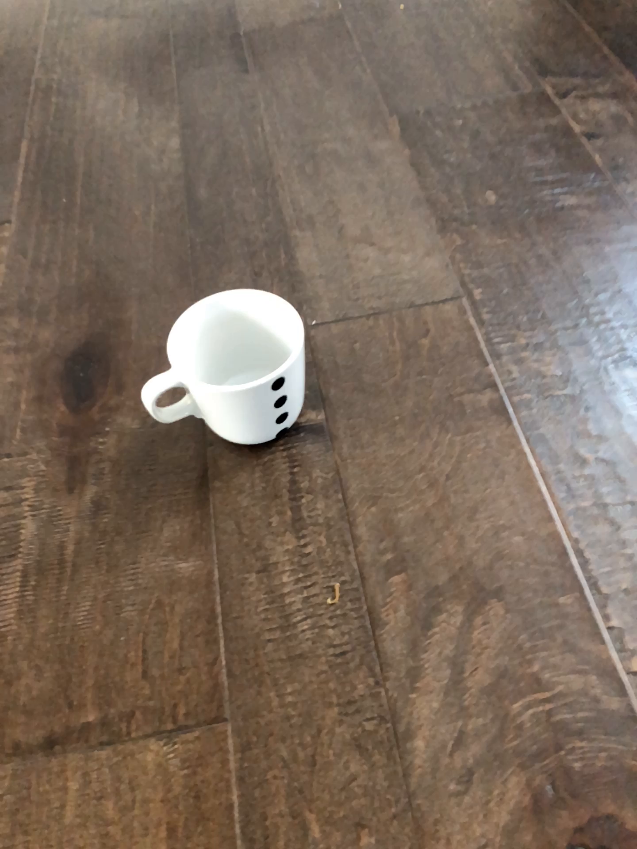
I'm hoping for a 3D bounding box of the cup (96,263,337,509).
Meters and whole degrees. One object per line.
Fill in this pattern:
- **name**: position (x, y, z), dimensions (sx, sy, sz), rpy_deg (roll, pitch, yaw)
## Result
- **cup**: position (-0.062, -0.027, 0.458), dimensions (0.110, 0.079, 0.090), rpy_deg (-36, 57, -19)
